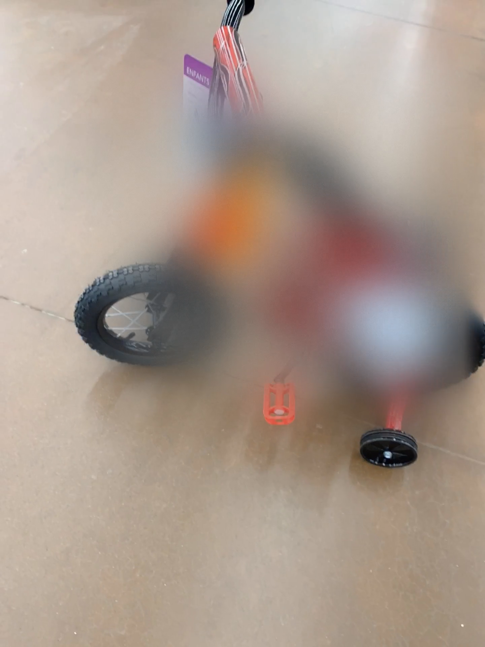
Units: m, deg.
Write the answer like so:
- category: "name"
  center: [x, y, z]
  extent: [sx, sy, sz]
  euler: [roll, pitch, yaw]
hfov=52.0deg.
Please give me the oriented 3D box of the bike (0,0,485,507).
- category: "bike"
  center: [0.096, -0.107, 0.713]
  extent: [0.735, 0.604, 0.441]
  euler: [8, 49, -5]
